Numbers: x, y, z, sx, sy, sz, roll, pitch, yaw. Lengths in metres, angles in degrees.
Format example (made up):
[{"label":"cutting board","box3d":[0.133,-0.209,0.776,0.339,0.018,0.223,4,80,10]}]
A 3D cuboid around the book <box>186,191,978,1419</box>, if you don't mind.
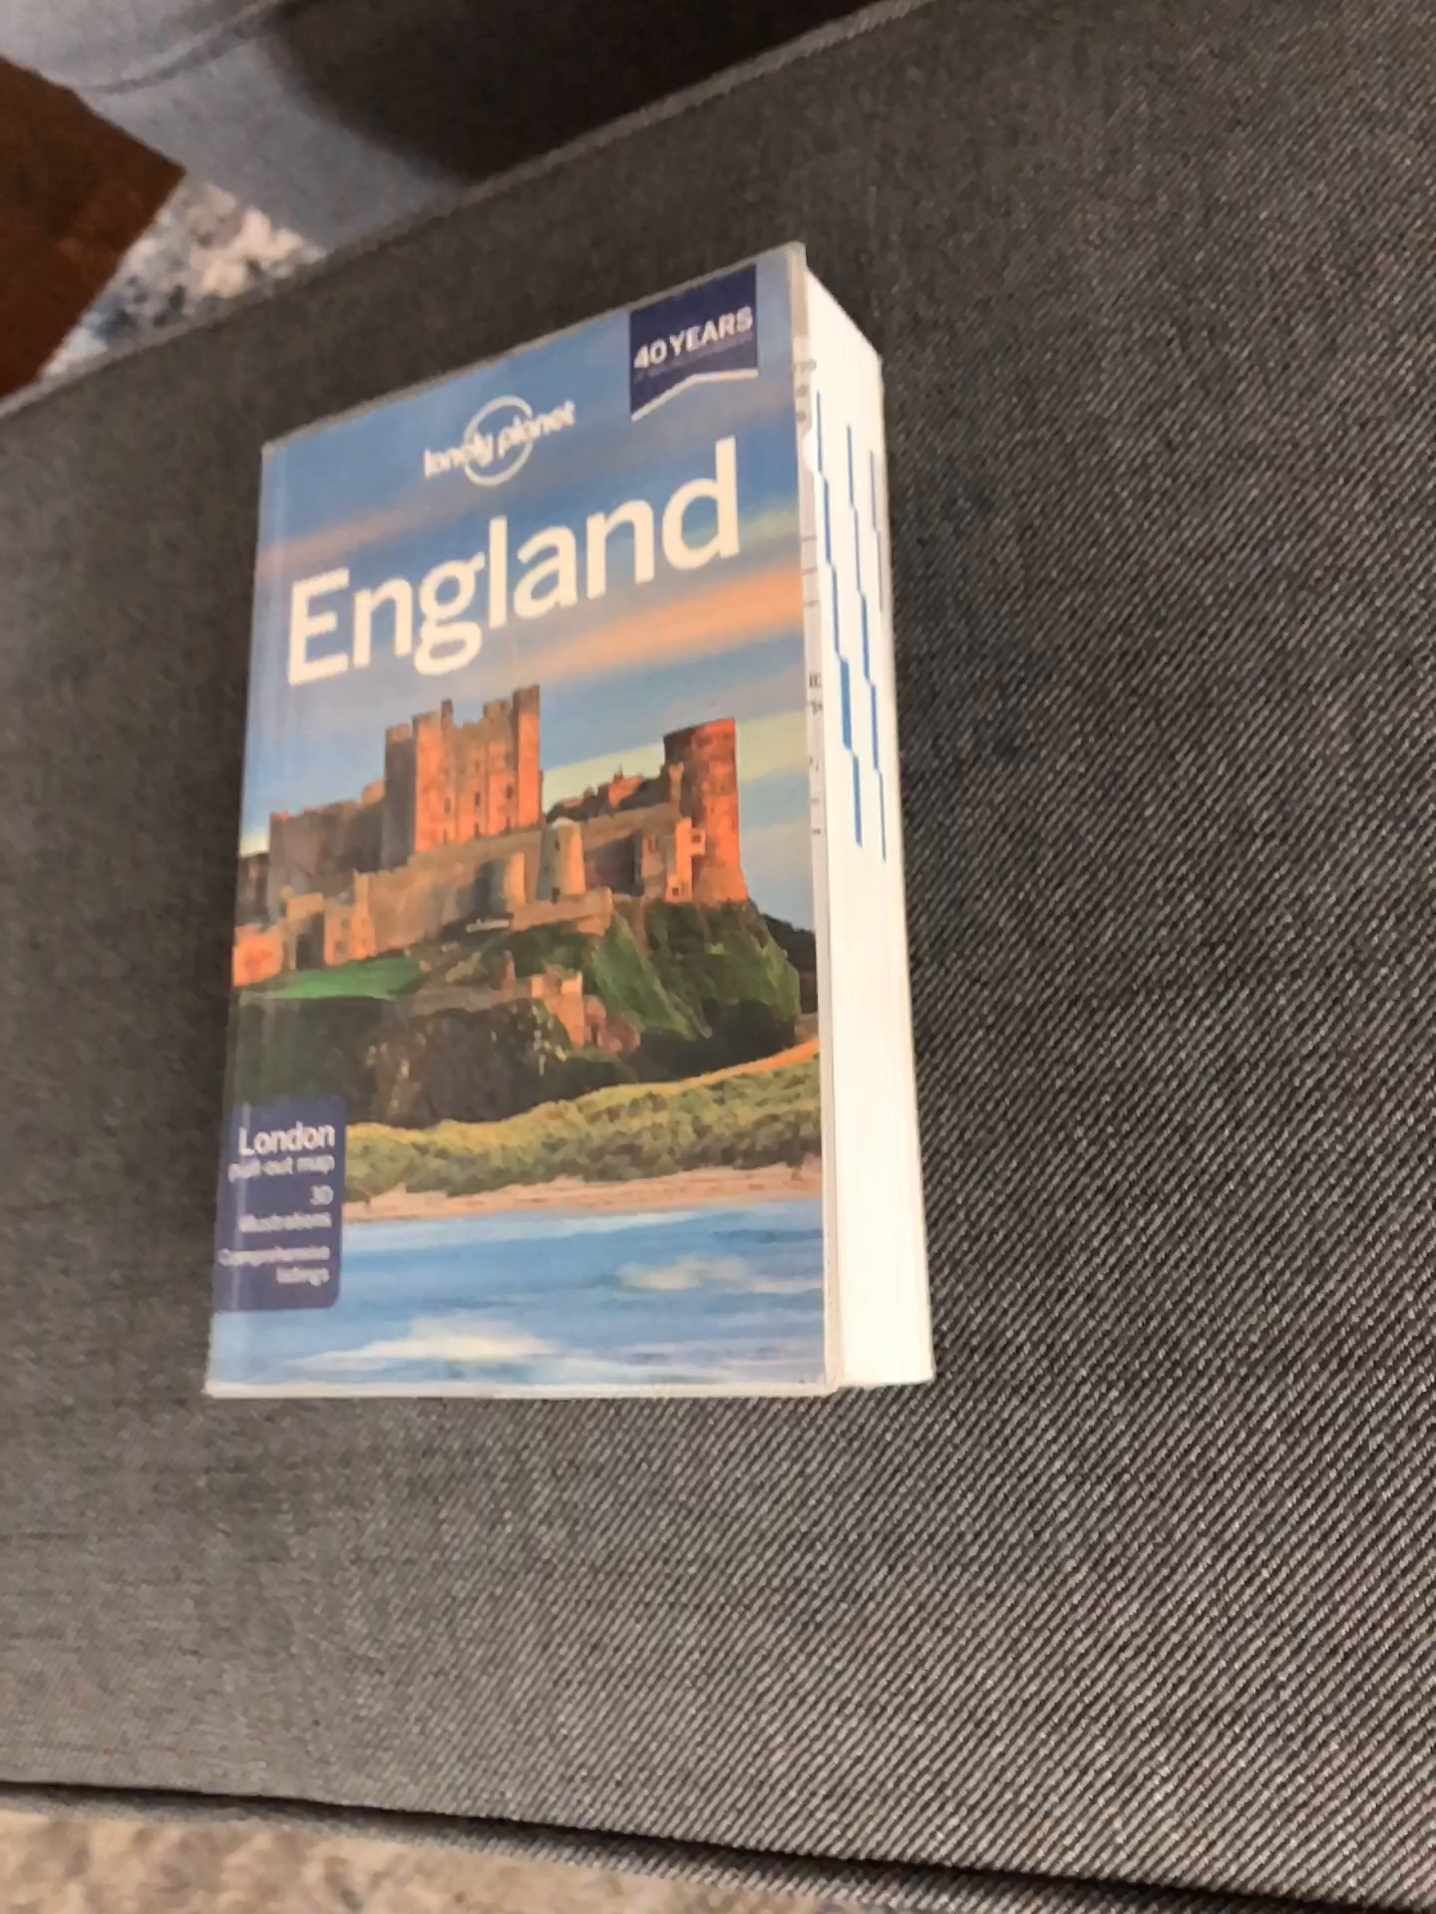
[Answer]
[{"label":"book","box3d":[-0.030,-0.020,0.299,0.136,0.040,0.200,-11,72,30]}]
